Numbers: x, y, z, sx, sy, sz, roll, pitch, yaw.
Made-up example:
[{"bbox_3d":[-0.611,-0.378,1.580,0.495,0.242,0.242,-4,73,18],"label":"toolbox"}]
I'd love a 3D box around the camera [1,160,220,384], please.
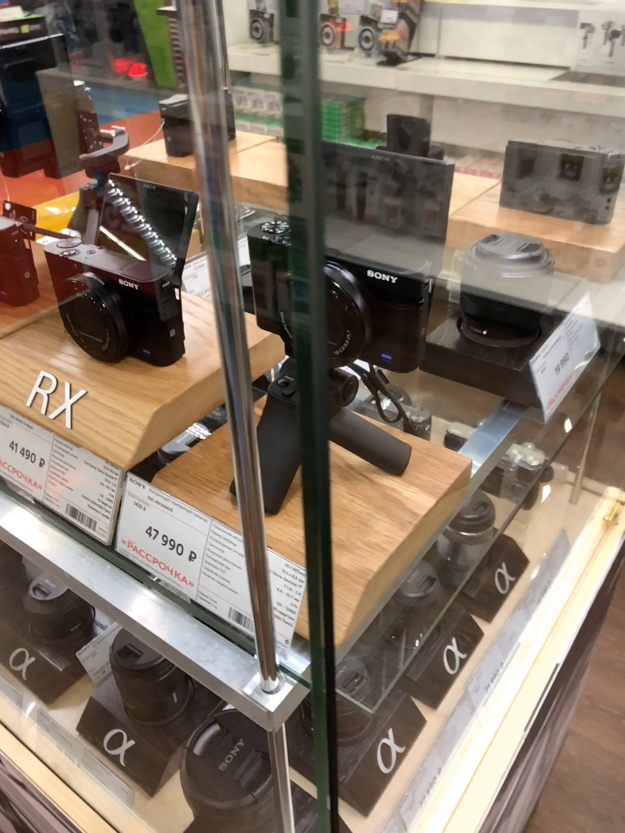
[{"bbox_3d":[-0.123,-0.094,0.435,0.102,0.102,0.065,22,42,30],"label":"camera"}]

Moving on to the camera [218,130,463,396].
[{"bbox_3d":[0.013,-0.083,0.359,0.102,0.102,0.057,22,42,30],"label":"camera"}]
